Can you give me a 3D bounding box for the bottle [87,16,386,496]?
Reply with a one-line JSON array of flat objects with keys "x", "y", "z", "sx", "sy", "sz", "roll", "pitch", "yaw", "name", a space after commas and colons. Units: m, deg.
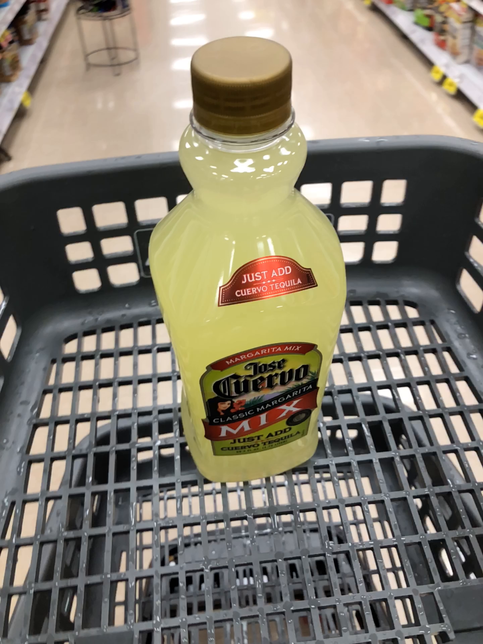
[{"x": -0.002, "y": -0.010, "z": 0.321, "sx": 0.110, "sy": 0.279, "sz": 0.080, "roll": -10, "pitch": 45, "yaw": -6, "name": "bottle"}]
